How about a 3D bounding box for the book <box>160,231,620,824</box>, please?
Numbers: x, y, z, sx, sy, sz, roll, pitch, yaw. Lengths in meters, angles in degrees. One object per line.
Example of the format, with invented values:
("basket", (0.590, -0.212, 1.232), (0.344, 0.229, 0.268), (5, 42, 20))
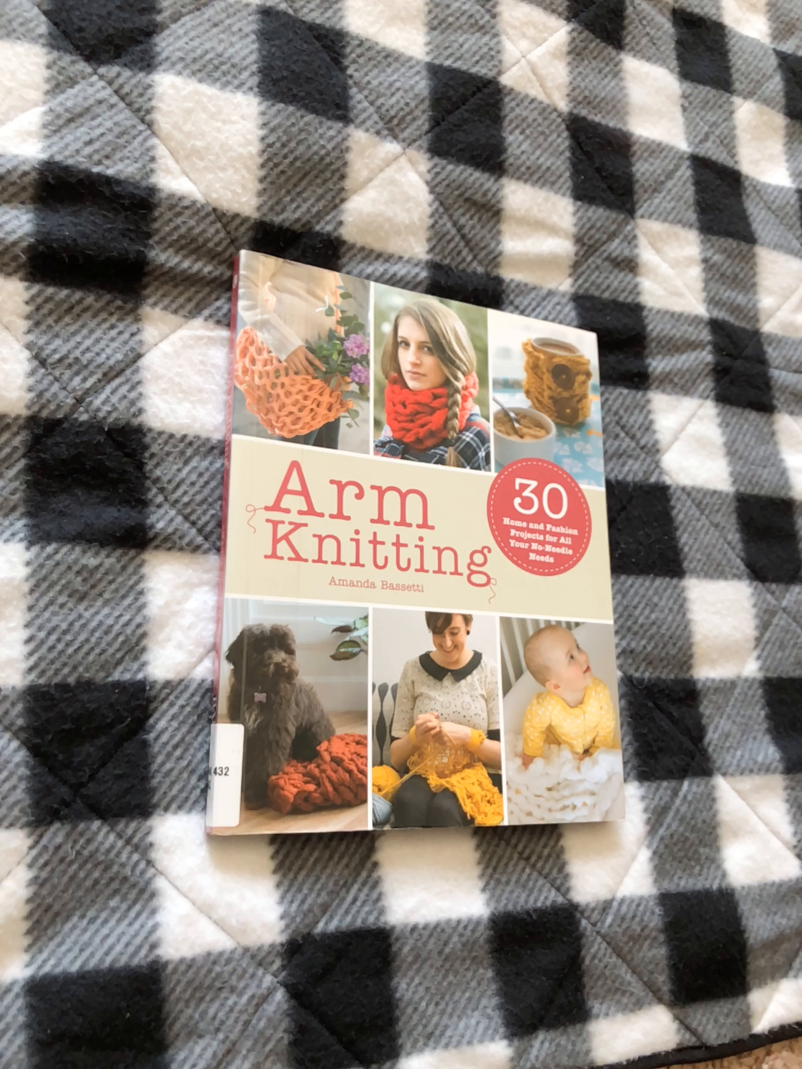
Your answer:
("book", (0.004, 0.000, 0.393), (0.196, 0.020, 0.238), (7, 74, -23))
